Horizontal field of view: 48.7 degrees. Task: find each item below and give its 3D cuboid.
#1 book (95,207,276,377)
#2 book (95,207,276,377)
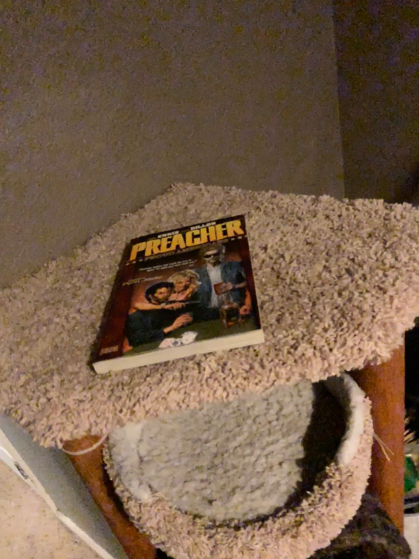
[{"bbox_3d":[-0.027,-0.004,0.549,0.170,0.020,0.270,-12,32,6],"label":"book"},{"bbox_3d":[-0.027,-0.004,0.549,0.170,0.020,0.270,-12,32,6],"label":"book"}]
